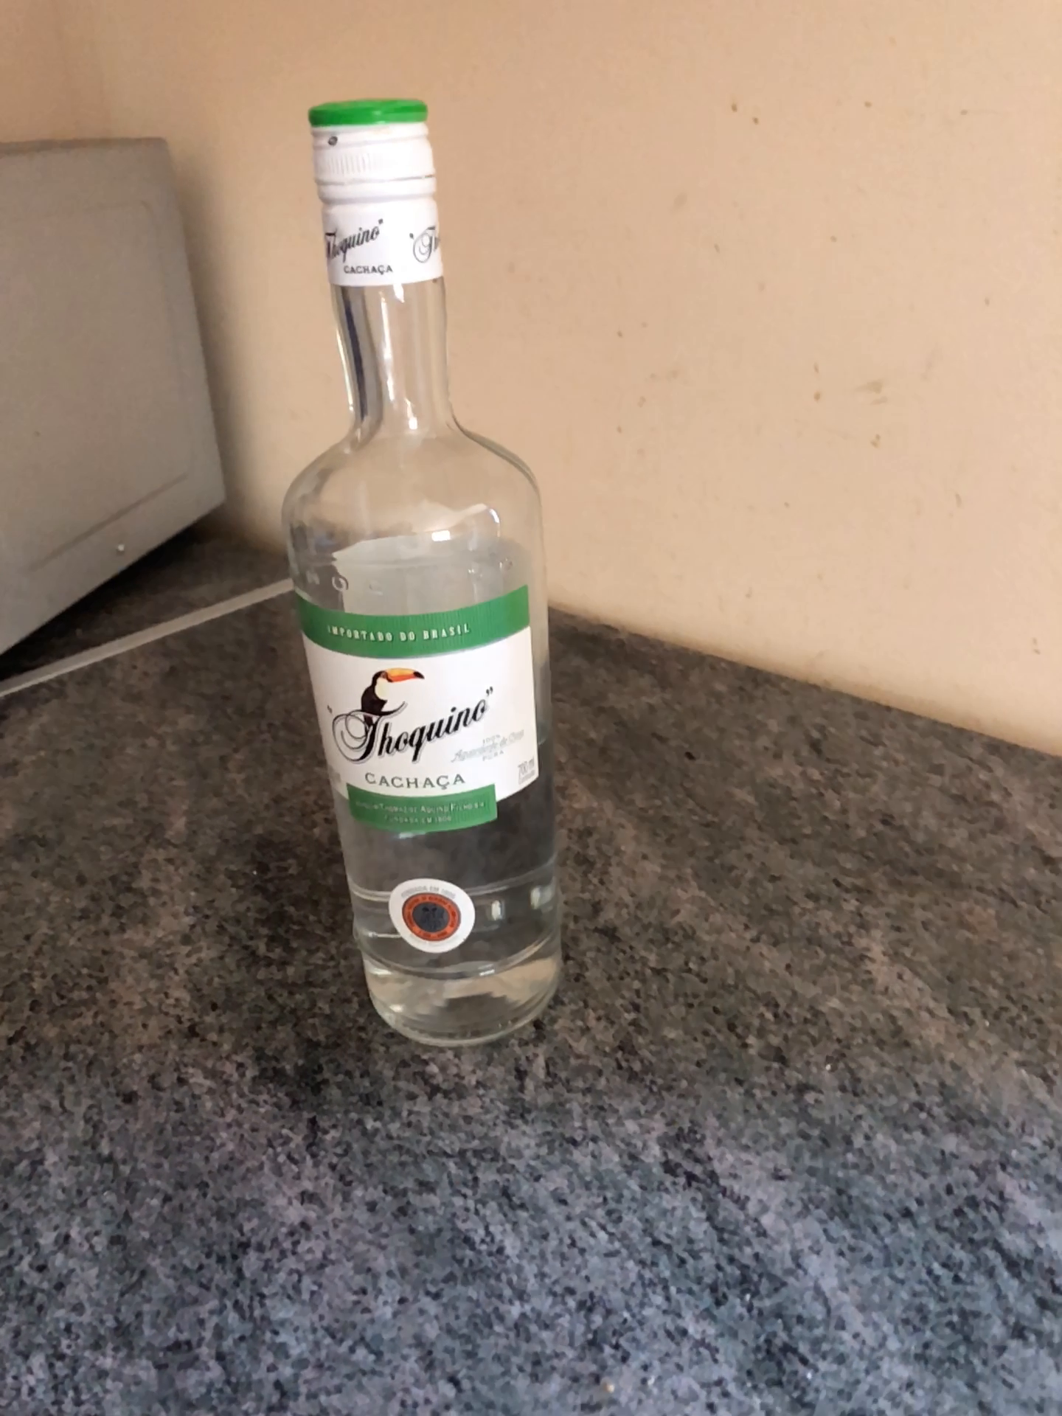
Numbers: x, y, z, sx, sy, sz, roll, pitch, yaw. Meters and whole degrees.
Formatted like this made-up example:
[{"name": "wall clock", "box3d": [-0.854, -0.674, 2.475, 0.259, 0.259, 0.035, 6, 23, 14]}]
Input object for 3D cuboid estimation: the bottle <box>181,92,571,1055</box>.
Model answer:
[{"name": "bottle", "box3d": [-0.033, -0.032, 0.364, 0.080, 0.279, 0.080, -2, 25, 1]}]
